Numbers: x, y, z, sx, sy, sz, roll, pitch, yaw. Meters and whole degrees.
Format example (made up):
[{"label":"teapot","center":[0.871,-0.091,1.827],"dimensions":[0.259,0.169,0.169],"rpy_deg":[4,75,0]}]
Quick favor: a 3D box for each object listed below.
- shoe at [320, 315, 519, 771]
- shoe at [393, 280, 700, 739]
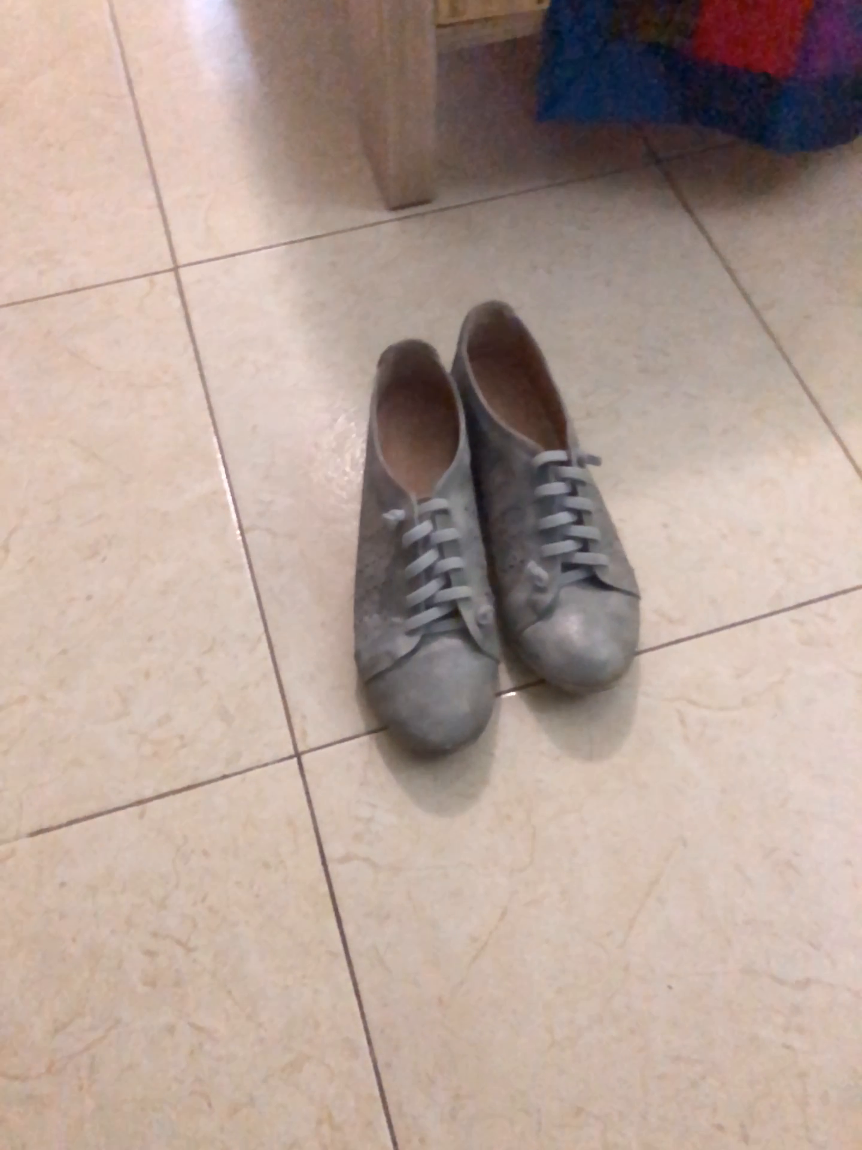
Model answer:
[{"label":"shoe","center":[-0.014,-0.029,0.638],"dimensions":[0.100,0.100,0.291],"rpy_deg":[-5,61,-2]},{"label":"shoe","center":[0.064,-0.052,0.644],"dimensions":[0.100,0.100,0.290],"rpy_deg":[-15,62,-8]}]
